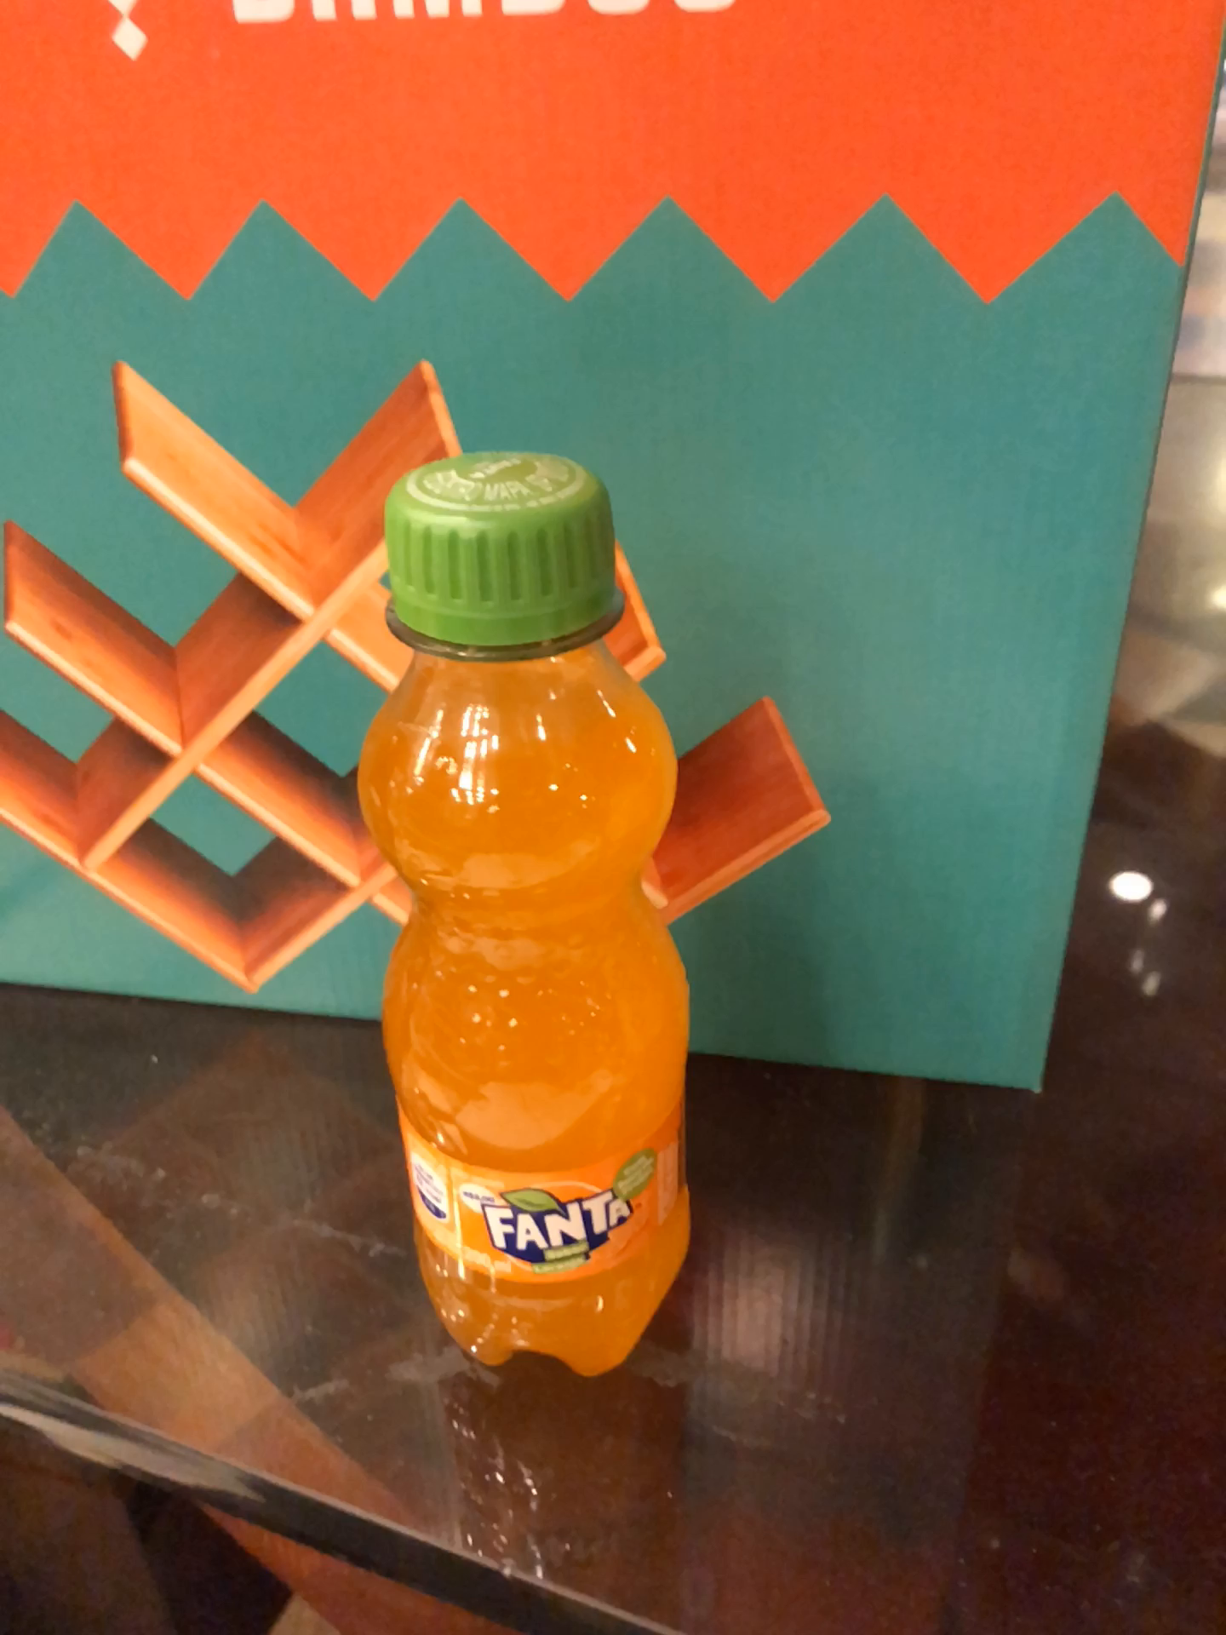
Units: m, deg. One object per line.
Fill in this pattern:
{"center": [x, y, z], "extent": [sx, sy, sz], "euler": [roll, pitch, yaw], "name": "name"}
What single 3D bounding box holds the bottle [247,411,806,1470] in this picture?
{"center": [-0.006, 0.026, 0.214], "extent": [0.060, 0.159, 0.060], "euler": [-2, 32, 1], "name": "bottle"}
